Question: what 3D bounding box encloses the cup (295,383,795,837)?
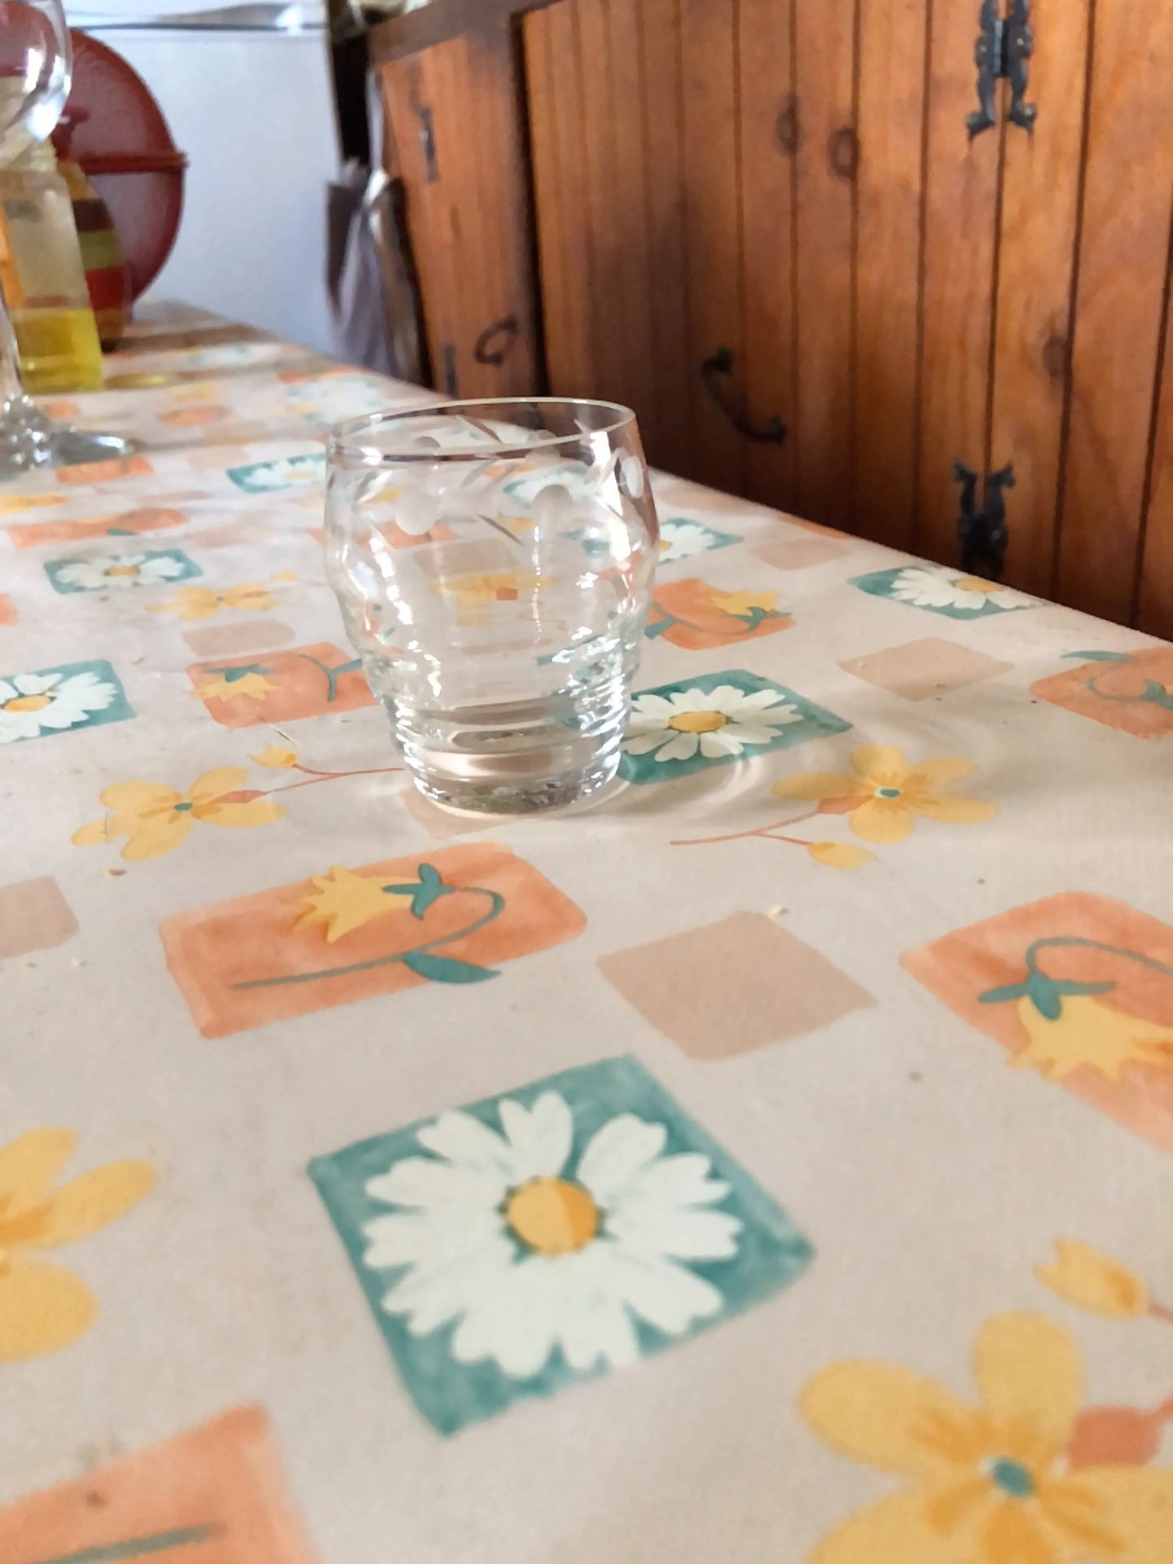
[{"bbox_3d":[-0.008,-0.031,0.206,0.060,0.050,0.060,-2,24,1],"label":"cup"}]
